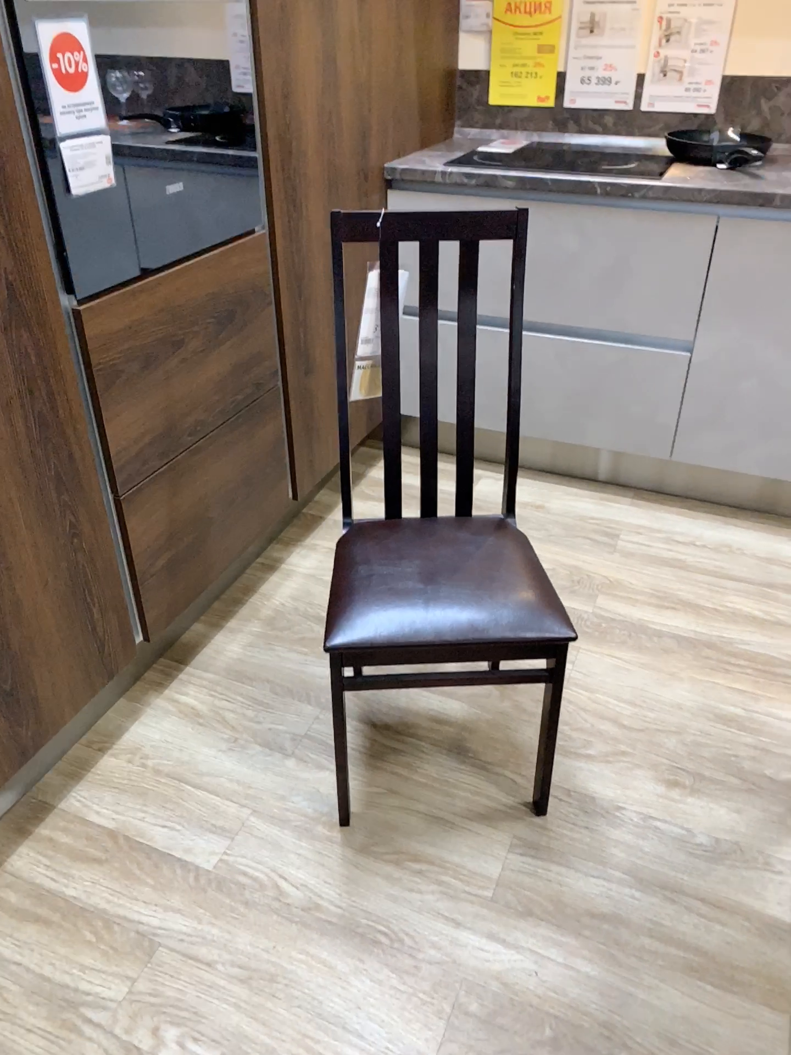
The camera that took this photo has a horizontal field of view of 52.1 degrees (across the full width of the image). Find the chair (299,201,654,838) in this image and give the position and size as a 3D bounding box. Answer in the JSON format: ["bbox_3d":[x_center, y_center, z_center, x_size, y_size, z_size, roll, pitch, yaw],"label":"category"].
[{"bbox_3d":[0.087,0.003,1.466,0.430,1.014,0.523,-2,33,-3],"label":"chair"}]
